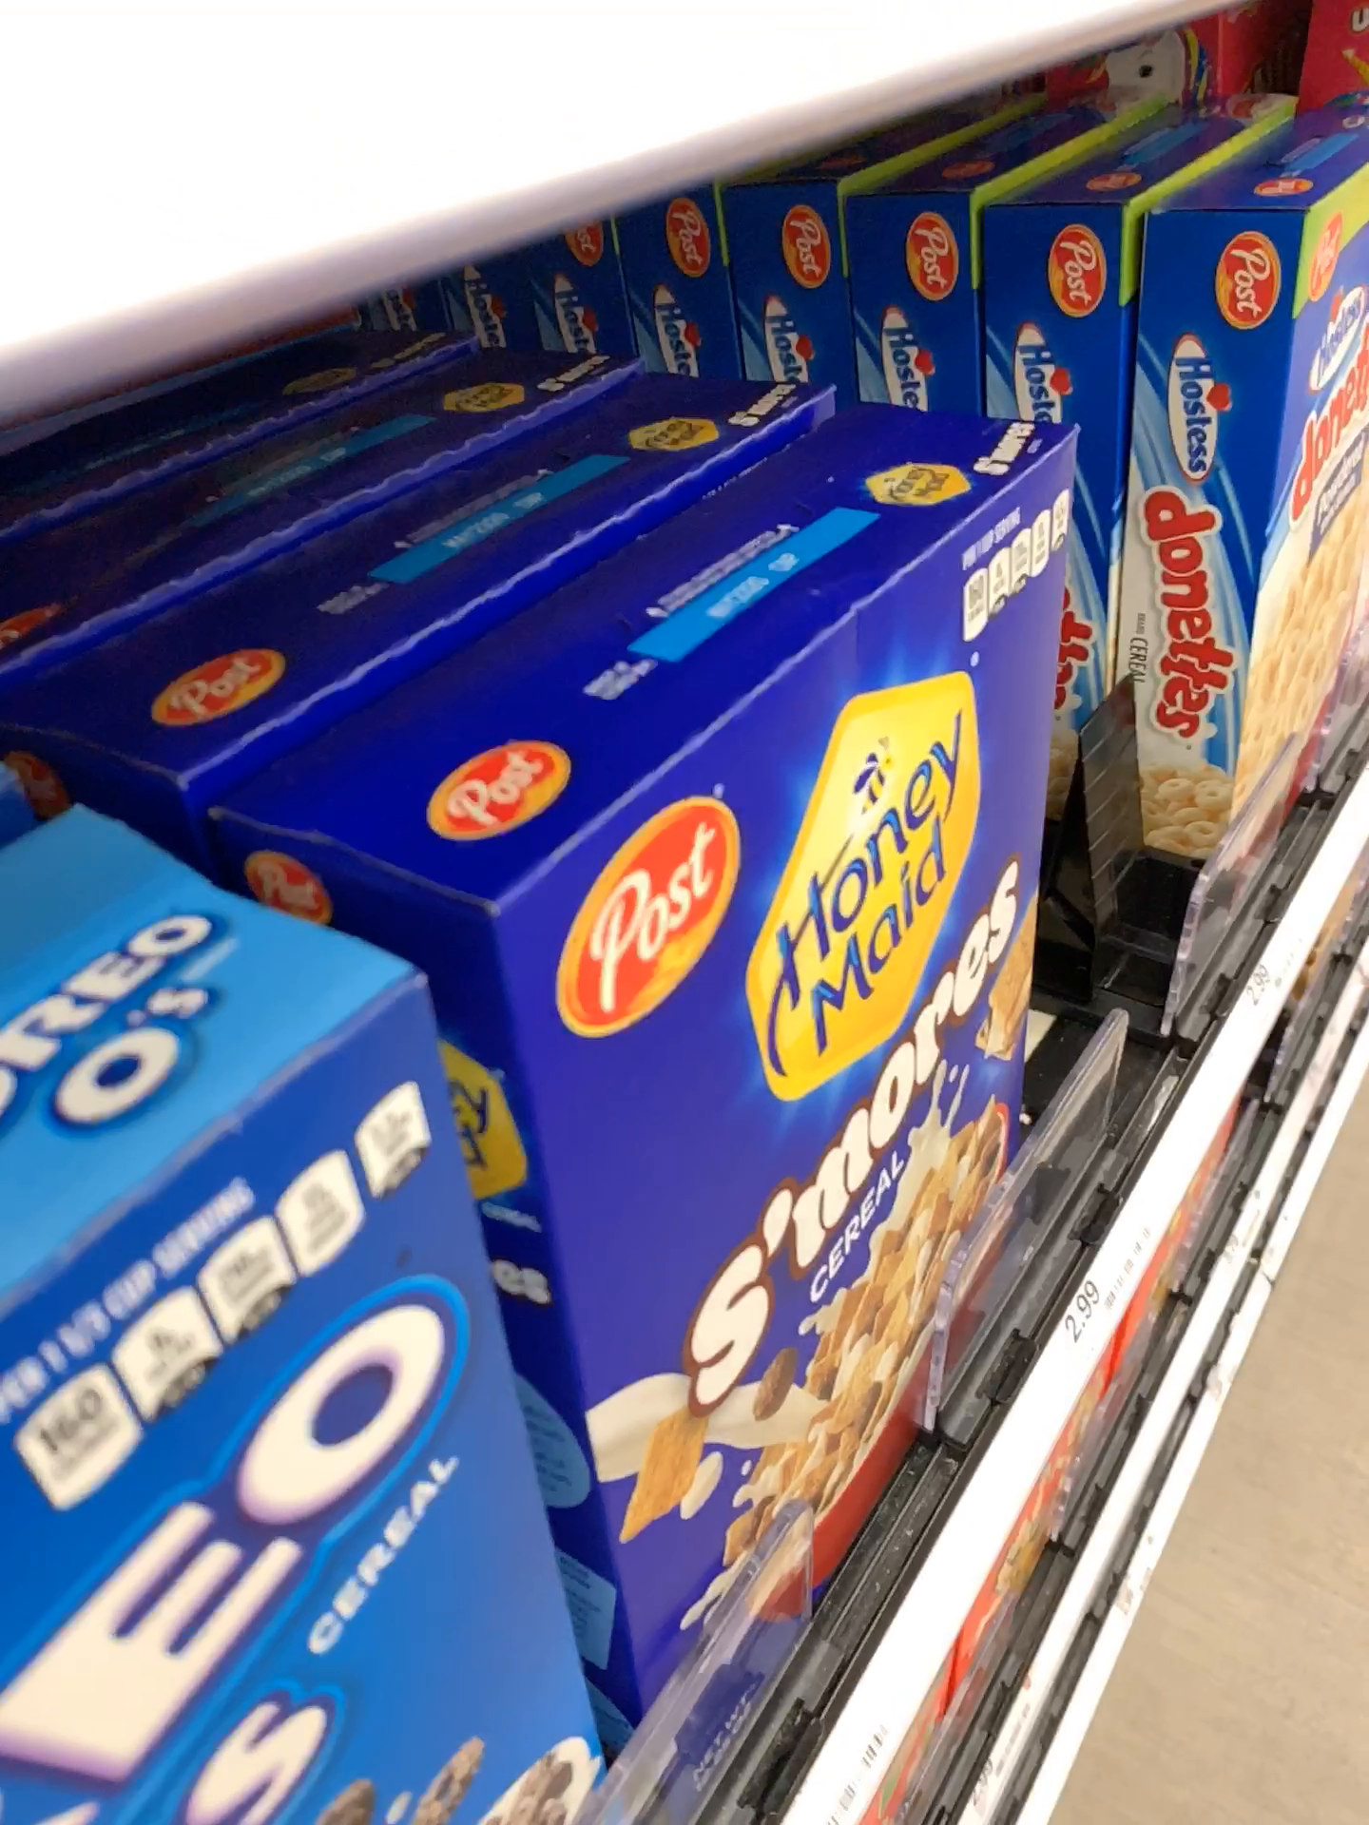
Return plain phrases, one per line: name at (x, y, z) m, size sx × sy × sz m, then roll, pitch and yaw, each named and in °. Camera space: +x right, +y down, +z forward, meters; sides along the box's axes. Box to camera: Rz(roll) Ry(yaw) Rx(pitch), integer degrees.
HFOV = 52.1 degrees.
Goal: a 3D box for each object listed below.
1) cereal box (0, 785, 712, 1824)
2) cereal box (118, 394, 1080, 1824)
cereal box at (-0.083, 0.149, 0.191) m, size 0.070 × 0.269 × 0.181 m, roll 17°, pitch 42°, yaw 28°
cereal box at (0.012, 0.050, 0.317) m, size 0.060 × 0.269 × 0.191 m, roll 19°, pitch 43°, yaw 30°
